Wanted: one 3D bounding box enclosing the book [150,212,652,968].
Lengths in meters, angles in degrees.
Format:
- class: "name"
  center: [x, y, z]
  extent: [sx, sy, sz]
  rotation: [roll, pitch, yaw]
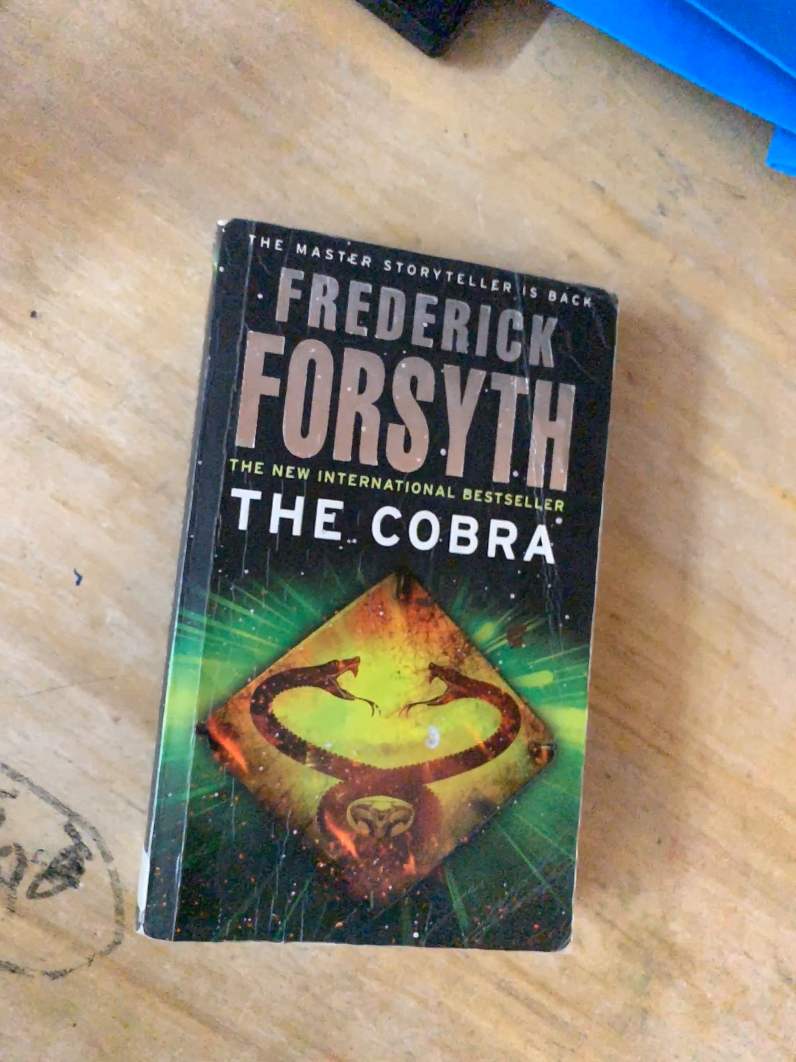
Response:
- class: "book"
  center: [0.001, 0.016, 0.207]
  extent: [0.100, 0.040, 0.160]
  rotation: [6, 86, -12]
